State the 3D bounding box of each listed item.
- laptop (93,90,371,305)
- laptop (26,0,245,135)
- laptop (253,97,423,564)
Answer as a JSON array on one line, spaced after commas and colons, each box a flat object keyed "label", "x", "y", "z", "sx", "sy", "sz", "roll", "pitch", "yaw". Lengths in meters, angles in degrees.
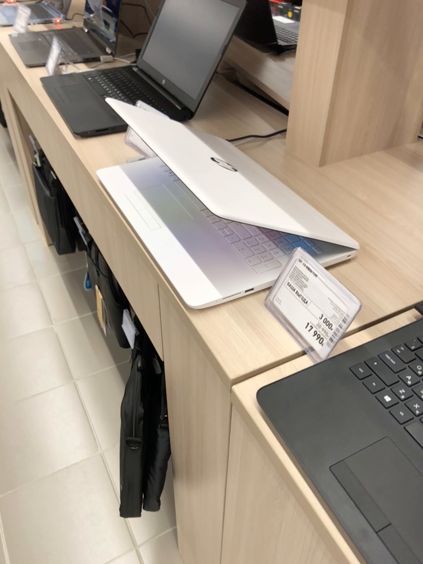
[{"label": "laptop", "x": 0.000, "y": -0.153, "z": 0.676, "sx": 0.232, "sy": 0.103, "sz": 0.369, "roll": -19, "pitch": 43, "yaw": -19}, {"label": "laptop", "x": -0.178, "y": -0.536, "z": 1.056, "sx": 0.368, "sy": 0.203, "sz": 0.387, "roll": -17, "pitch": 43, "yaw": -21}, {"label": "laptop", "x": 0.288, "y": 0.081, "z": 0.303, "sx": 0.350, "sy": 0.219, "sz": 0.393, "roll": -18, "pitch": 45, "yaw": -22}]
